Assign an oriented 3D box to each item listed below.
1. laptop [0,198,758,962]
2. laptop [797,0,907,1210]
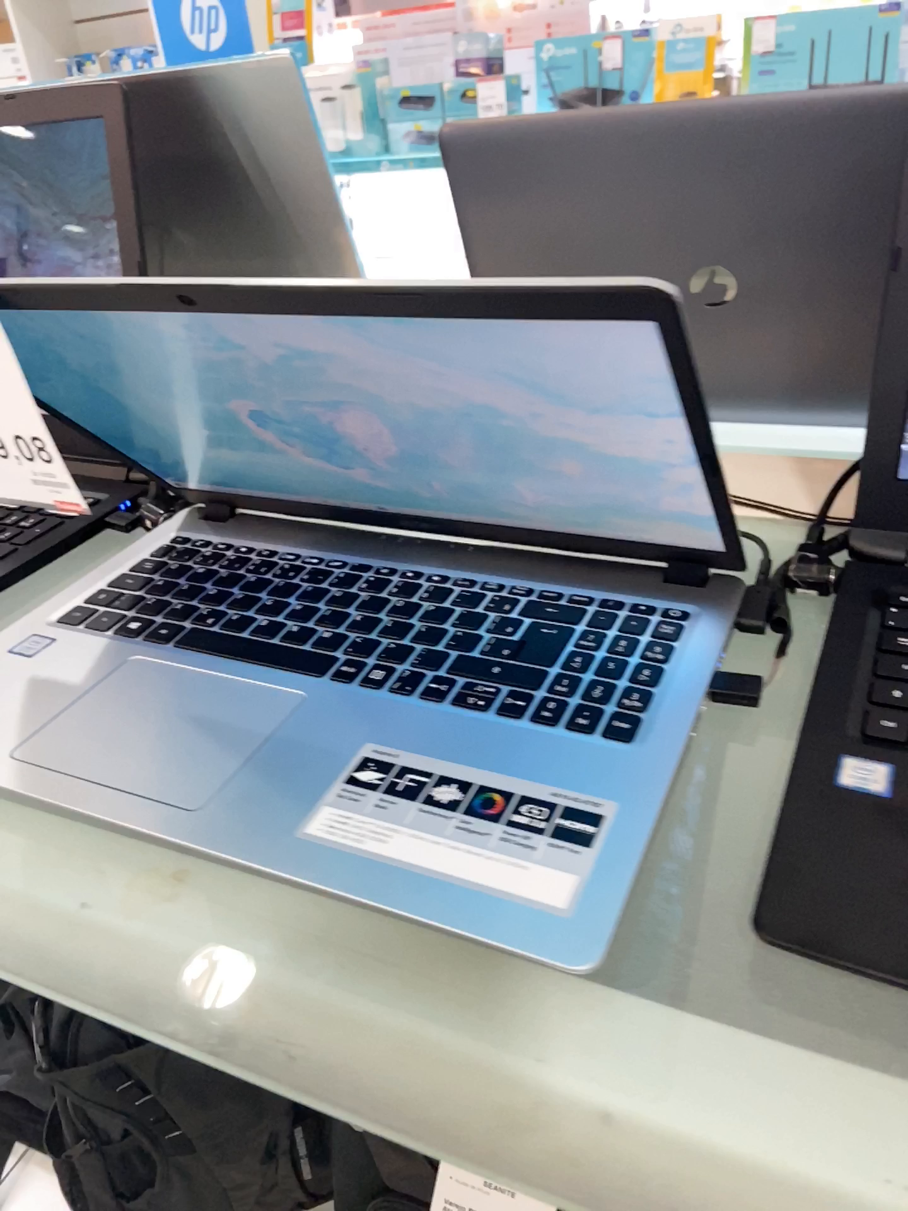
[{"bbox_3d":[-0.076,-0.052,0.405,0.353,0.175,0.237,9,34,24],"label":"laptop"},{"bbox_3d":[0.306,-0.053,0.253,0.355,0.238,0.289,8,34,26],"label":"laptop"}]
